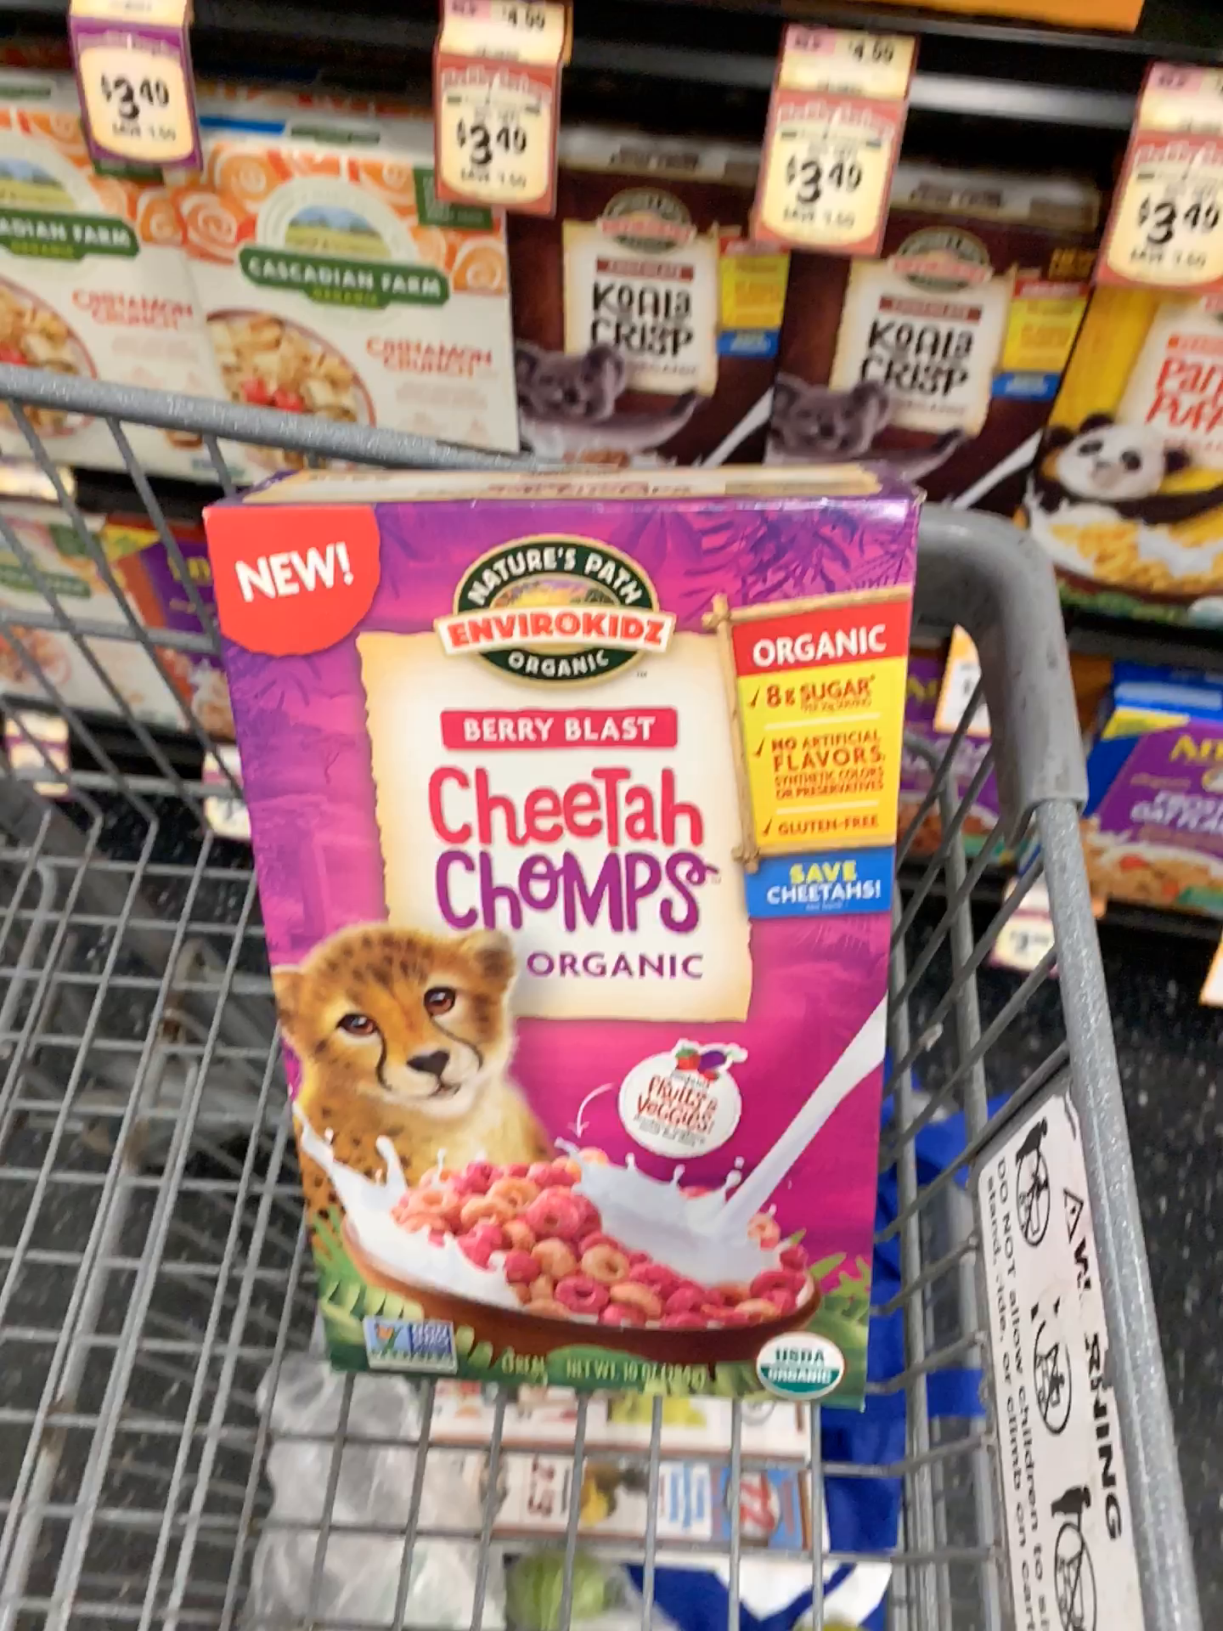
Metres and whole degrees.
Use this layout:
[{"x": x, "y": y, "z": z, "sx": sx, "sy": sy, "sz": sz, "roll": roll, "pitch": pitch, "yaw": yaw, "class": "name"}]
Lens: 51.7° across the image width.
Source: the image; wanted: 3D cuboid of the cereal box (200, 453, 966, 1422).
[{"x": -0.004, "y": 0.036, "z": 0.335, "sx": 0.160, "sy": 0.250, "sz": 0.060, "roll": 1, "pitch": 21, "yaw": 5, "class": "cereal box"}]
